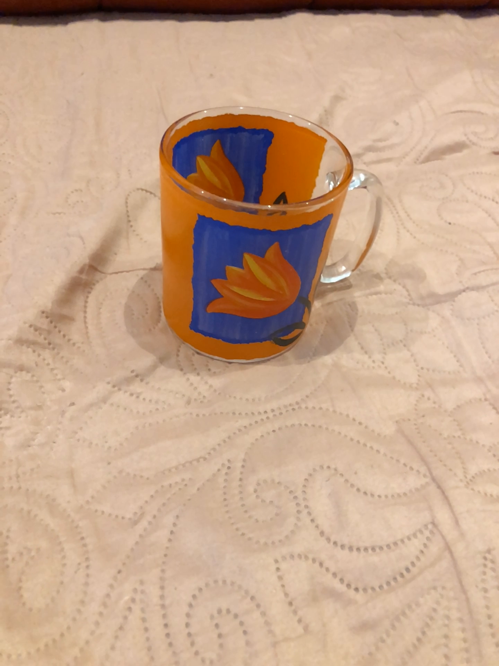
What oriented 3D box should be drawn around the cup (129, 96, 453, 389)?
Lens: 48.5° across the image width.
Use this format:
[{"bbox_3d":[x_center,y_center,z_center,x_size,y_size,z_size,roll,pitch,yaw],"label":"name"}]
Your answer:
[{"bbox_3d":[0.010,-0.043,0.256,0.110,0.089,0.080,-10,51,-15],"label":"cup"}]
